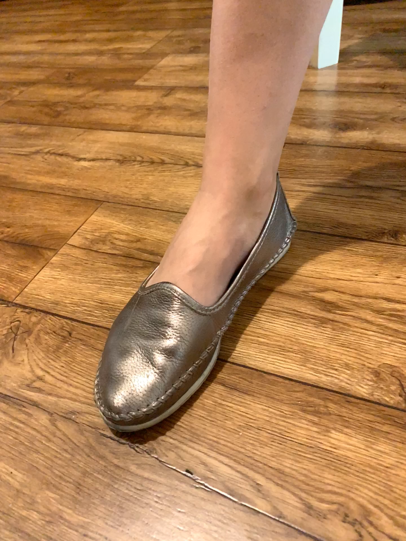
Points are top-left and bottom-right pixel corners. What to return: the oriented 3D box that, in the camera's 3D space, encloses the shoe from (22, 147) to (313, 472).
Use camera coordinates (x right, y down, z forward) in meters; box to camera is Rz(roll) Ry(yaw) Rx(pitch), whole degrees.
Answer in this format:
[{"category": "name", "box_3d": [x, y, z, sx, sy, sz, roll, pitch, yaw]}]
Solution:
[{"category": "shoe", "box_3d": [-0.009, 0.012, 0.321, 0.096, 0.070, 0.231, 20, 61, 29]}]
